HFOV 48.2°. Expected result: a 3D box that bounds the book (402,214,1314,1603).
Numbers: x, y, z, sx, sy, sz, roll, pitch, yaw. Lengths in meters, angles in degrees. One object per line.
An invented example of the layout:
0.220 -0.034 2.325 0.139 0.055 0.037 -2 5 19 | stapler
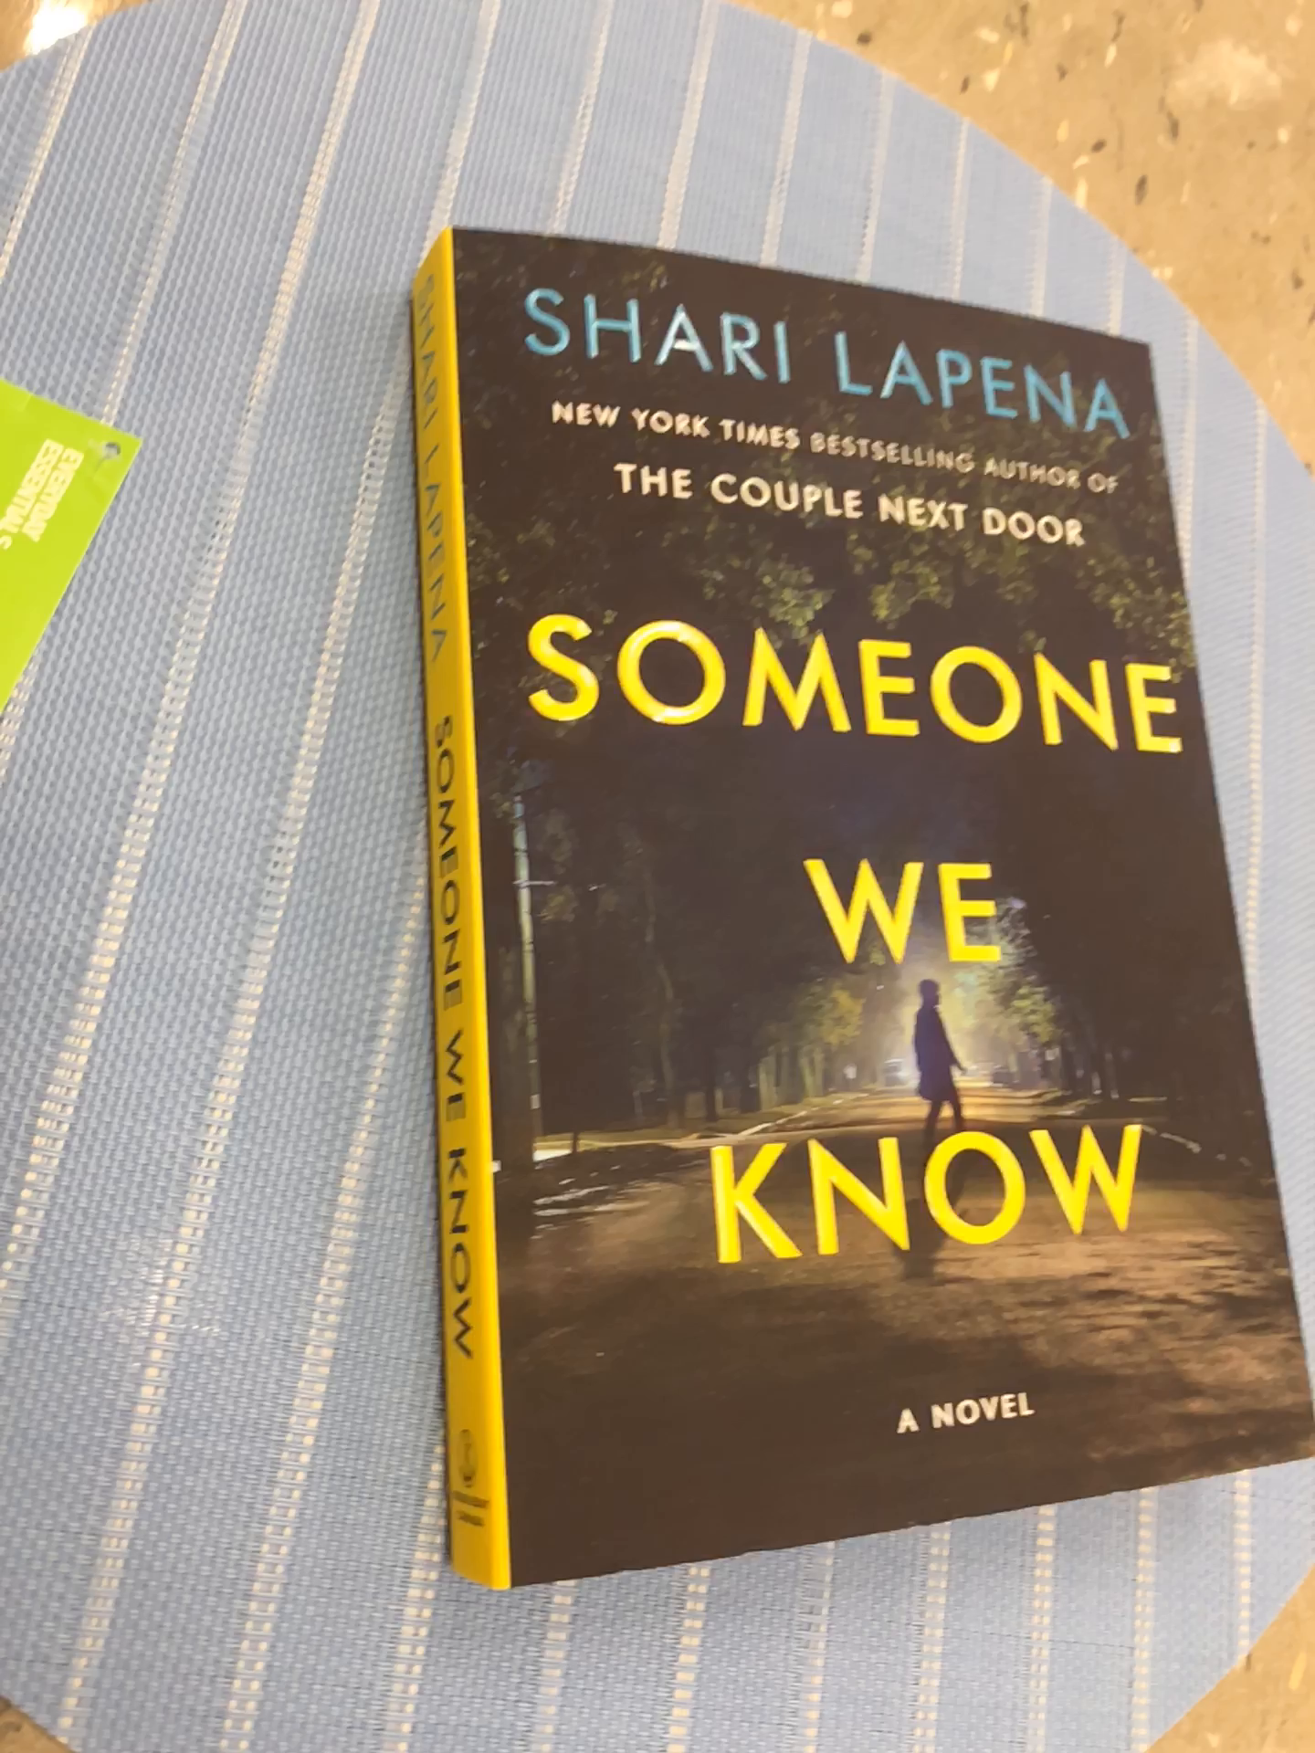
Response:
0.039 -0.002 0.274 0.162 0.030 0.224 1 76 -21 | book
